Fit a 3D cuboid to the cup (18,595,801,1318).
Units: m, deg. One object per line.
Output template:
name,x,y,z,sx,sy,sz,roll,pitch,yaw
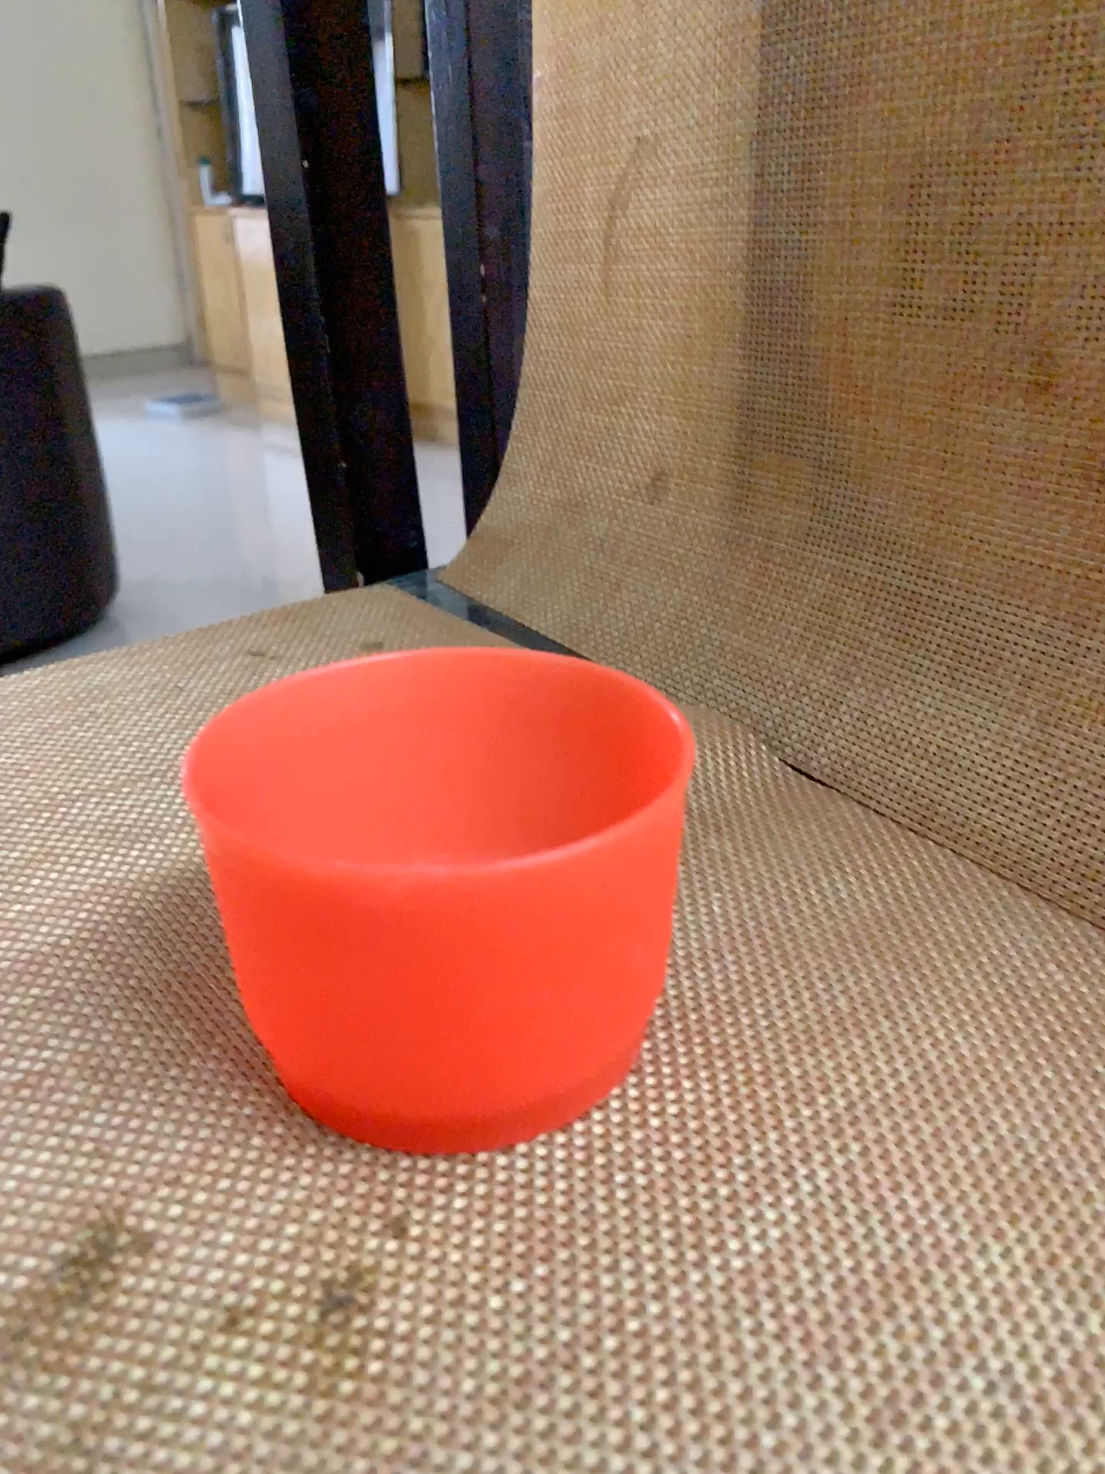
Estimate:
cup,-0.021,0.021,0.175,0.078,0.050,0.082,-1,26,0
